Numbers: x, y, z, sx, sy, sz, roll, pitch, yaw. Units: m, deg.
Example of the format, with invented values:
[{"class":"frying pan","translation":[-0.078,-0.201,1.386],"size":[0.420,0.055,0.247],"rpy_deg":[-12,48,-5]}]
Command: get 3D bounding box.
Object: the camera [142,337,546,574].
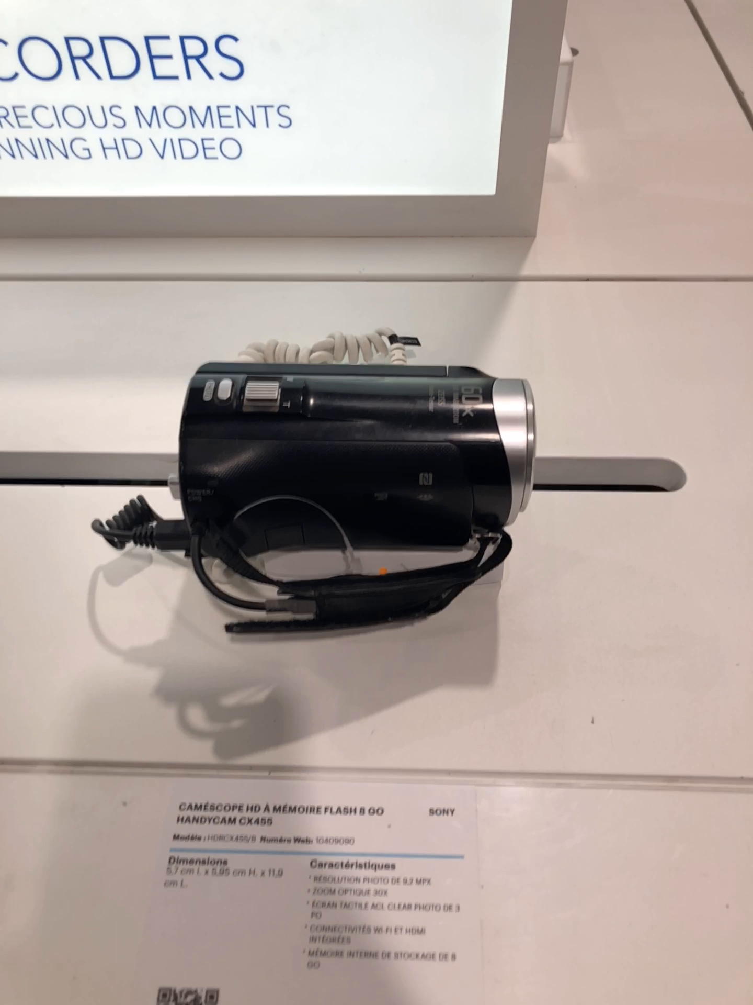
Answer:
[{"class":"camera","translation":[-0.009,-0.015,0.290],"size":[0.121,0.058,0.057],"rpy_deg":[0,50,2]}]
